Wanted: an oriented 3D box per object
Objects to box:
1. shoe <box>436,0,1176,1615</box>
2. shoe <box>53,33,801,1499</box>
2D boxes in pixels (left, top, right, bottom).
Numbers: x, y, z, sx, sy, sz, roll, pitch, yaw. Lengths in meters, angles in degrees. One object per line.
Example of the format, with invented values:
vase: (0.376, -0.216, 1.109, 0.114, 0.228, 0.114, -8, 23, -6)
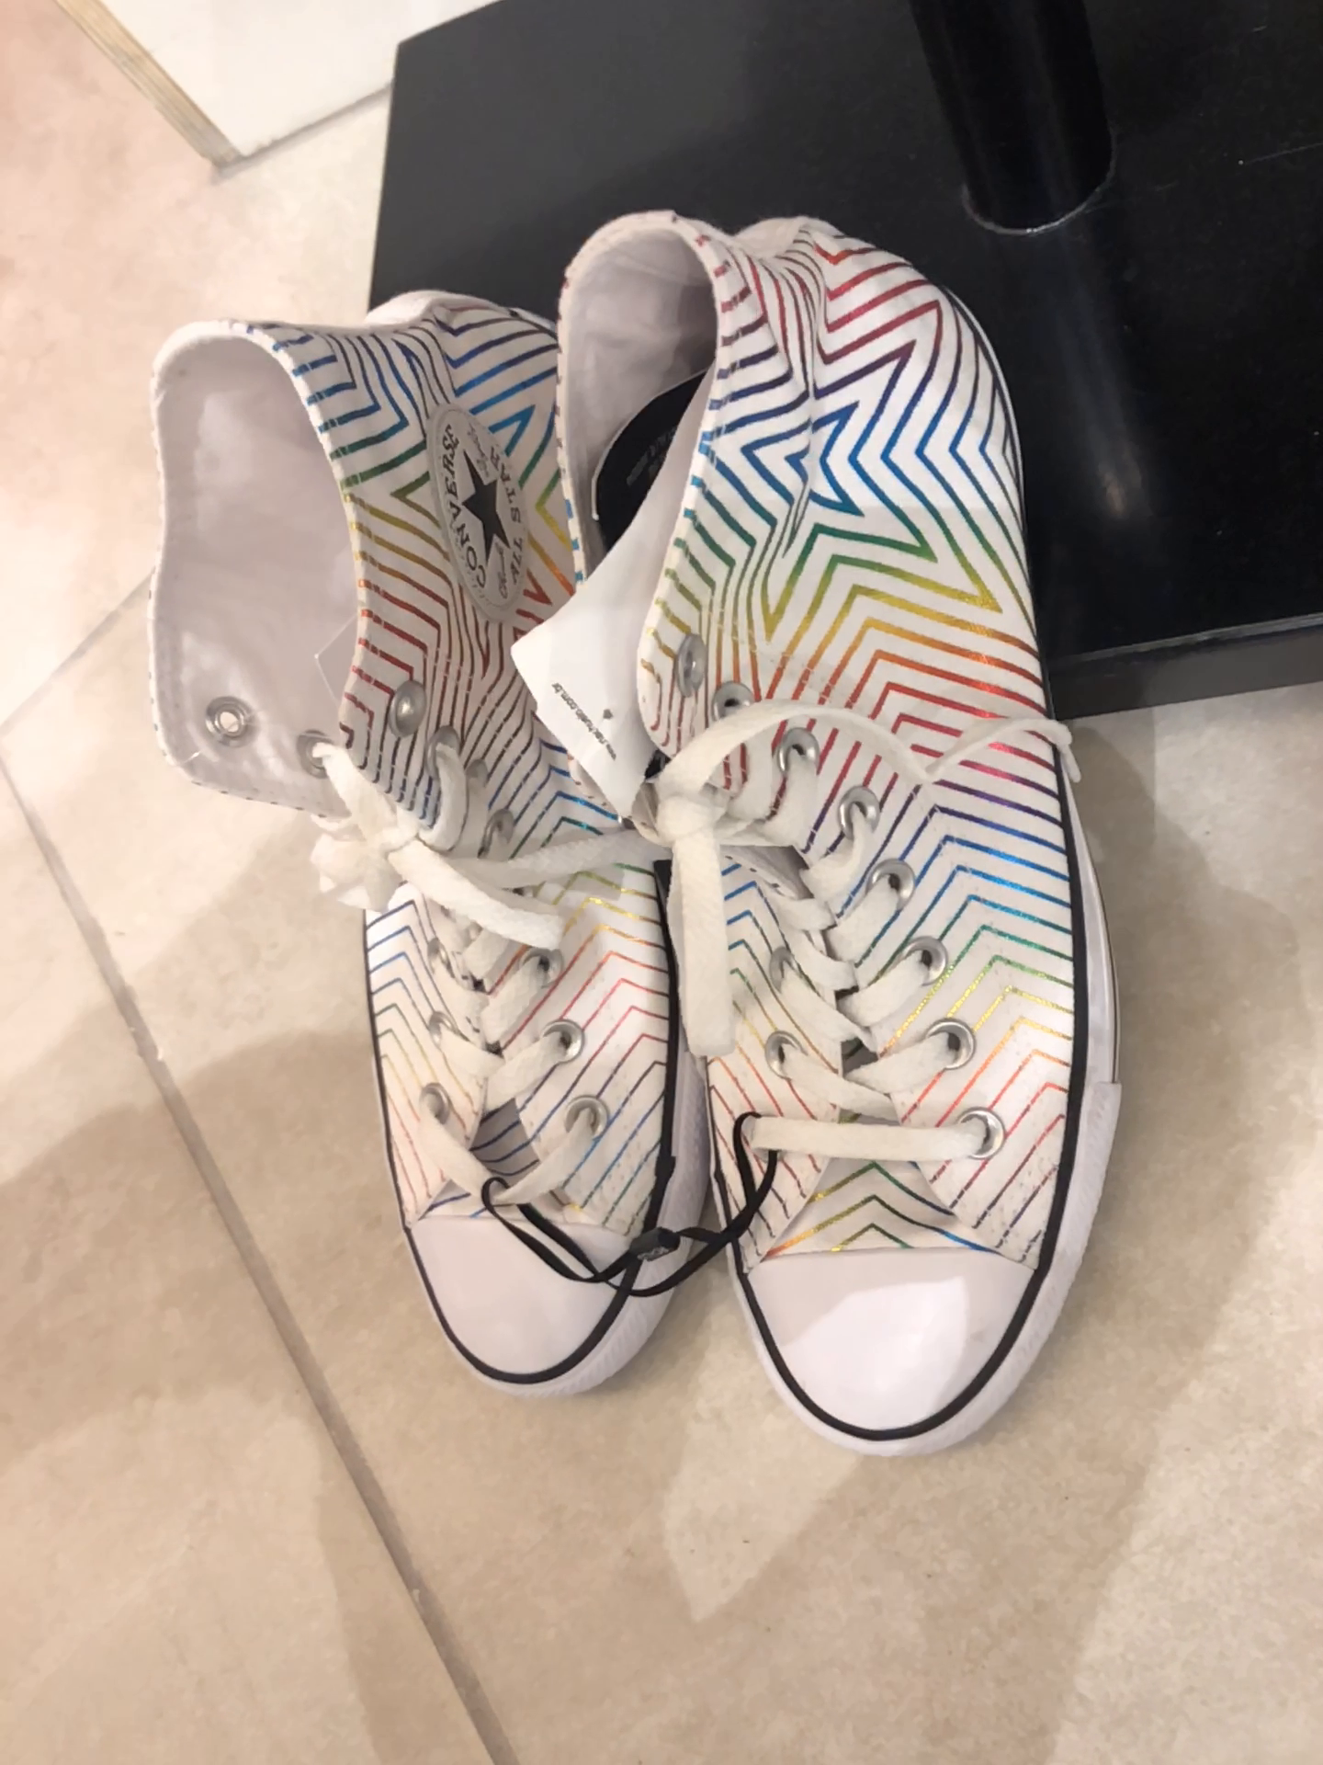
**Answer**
shoe: (0.039, -0.023, 0.336, 0.120, 0.140, 0.300, -4, 82, 25)
shoe: (-0.053, -0.022, 0.388, 0.120, 0.140, 0.300, -4, 89, 25)
